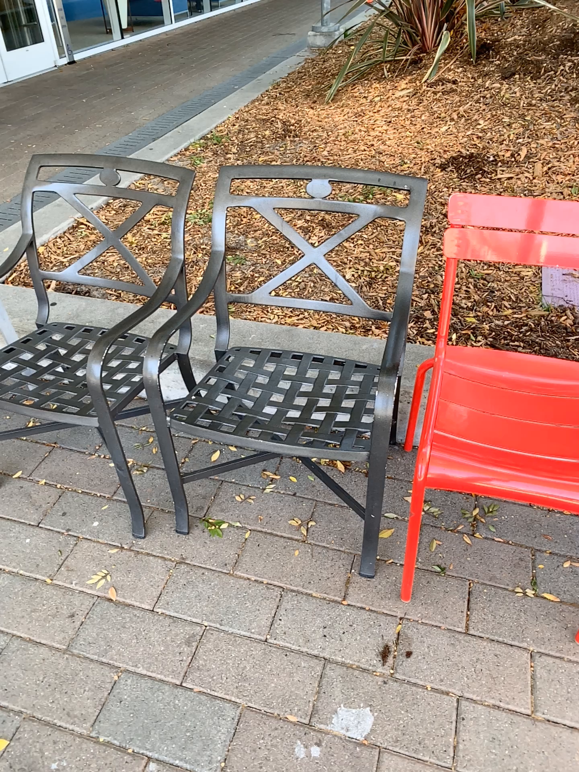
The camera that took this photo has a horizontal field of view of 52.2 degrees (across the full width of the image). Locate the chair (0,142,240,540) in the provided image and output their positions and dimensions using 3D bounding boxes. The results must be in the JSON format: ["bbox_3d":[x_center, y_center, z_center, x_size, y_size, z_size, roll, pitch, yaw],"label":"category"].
[{"bbox_3d":[-0.587,-0.159,1.704,0.621,0.815,0.693,10,39,14],"label":"chair"}]

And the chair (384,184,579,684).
[{"bbox_3d":[0.610,0.080,1.345,0.621,0.815,0.643,10,39,14],"label":"chair"}]

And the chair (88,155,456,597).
[{"bbox_3d":[0.027,-0.059,1.546,0.621,0.815,0.693,10,39,14],"label":"chair"}]
